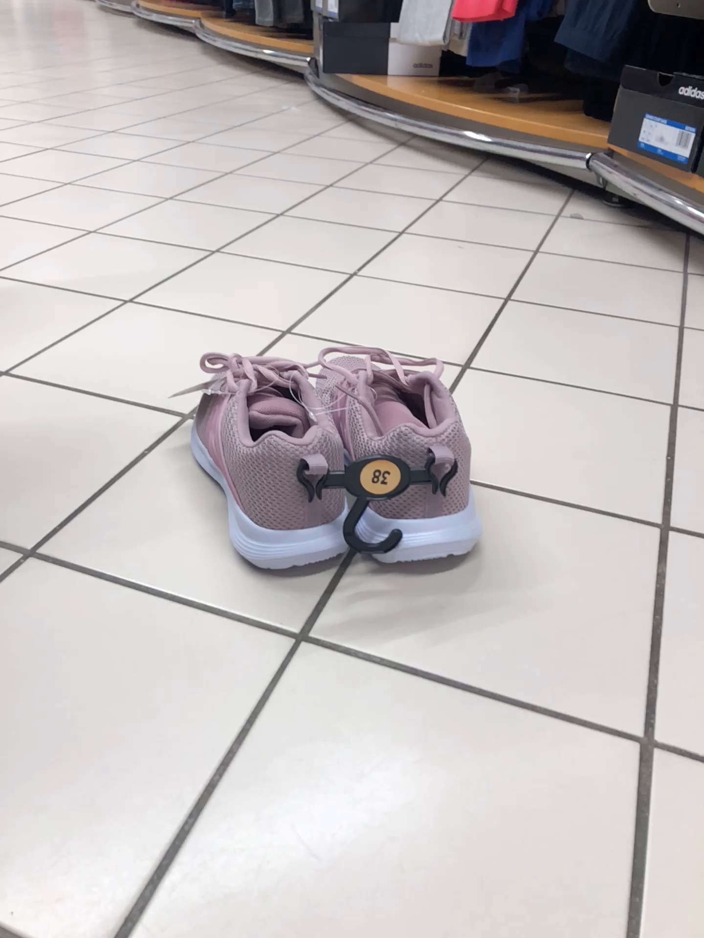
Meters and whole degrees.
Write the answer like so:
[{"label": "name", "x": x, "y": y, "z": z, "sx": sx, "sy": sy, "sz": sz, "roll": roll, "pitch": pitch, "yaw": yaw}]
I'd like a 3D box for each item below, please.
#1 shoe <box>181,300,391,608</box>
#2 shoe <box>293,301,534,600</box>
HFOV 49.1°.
[{"label": "shoe", "x": -0.061, "y": -0.029, "z": 0.582, "sx": 0.103, "sy": 0.099, "sz": 0.261, "roll": -7, "pitch": 34, "yaw": -14}, {"label": "shoe", "x": 0.028, "y": -0.032, "z": 0.579, "sx": 0.100, "sy": 0.092, "sz": 0.261, "roll": -6, "pitch": 34, "yaw": -12}]
